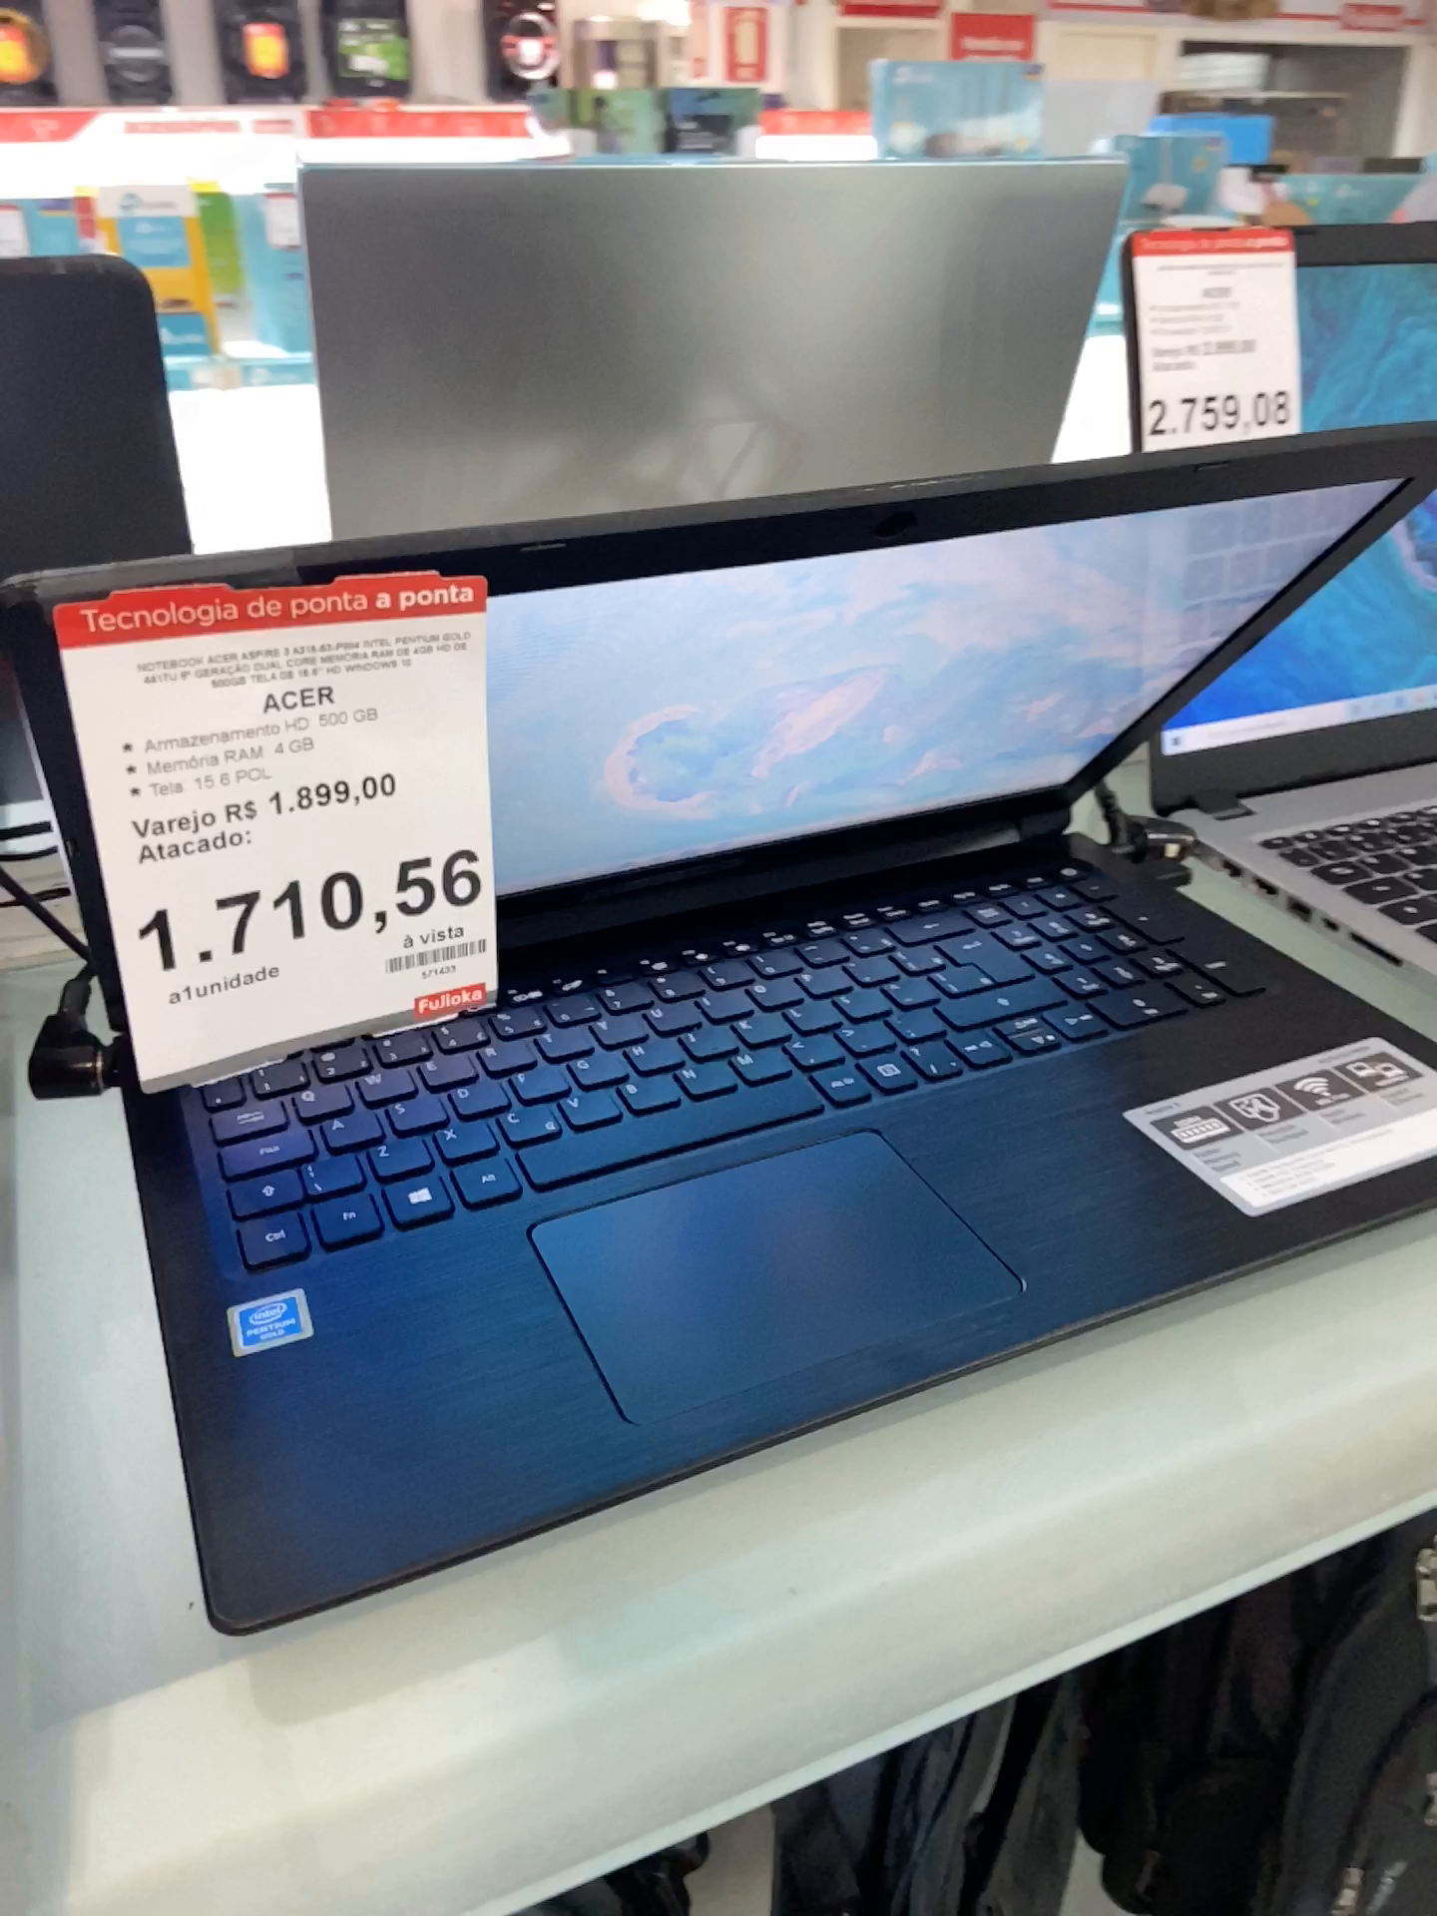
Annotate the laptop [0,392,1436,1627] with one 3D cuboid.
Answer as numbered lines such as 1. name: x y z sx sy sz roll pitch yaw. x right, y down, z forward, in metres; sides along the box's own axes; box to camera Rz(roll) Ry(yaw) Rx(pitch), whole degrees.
1. laptop: 0.026 -0.038 0.408 0.375 0.169 0.231 -13 31 -21

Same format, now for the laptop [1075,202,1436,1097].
1. laptop: 0.389 -0.161 0.573 0.363 0.227 0.314 -11 29 -19
